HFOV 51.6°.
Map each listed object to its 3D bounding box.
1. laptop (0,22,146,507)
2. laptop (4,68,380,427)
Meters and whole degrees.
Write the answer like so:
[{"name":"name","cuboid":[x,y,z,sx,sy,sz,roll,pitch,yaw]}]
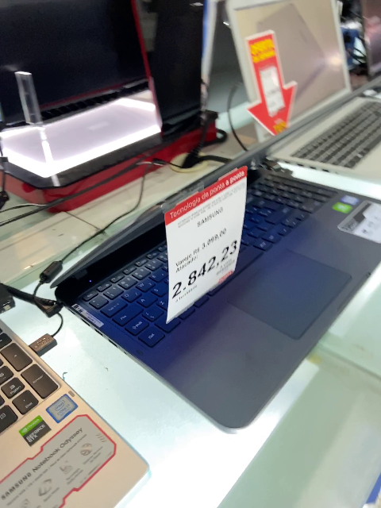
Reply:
[{"name":"laptop","cuboid":[-0.285,0.063,0.178,0.331,0.240,0.369,26,46,36]},{"name":"laptop","cuboid":[0.061,-0.067,0.402,0.231,0.146,0.367,24,44,35]}]
